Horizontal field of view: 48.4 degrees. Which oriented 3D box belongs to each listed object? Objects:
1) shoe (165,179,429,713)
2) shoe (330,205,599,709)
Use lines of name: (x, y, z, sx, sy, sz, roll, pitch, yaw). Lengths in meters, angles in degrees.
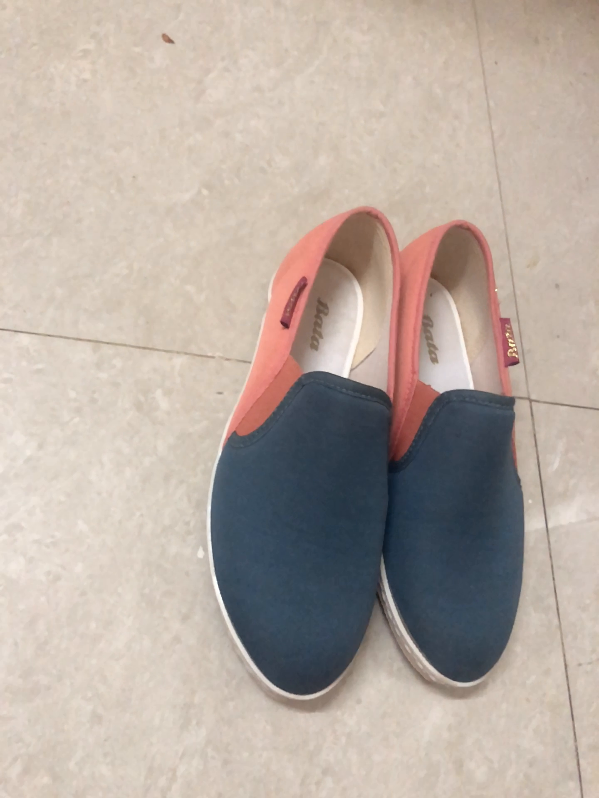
shoe: (0.003, 0.018, 0.306, 0.090, 0.060, 0.221, 11, 67, -17)
shoe: (0.074, 0.024, 0.324, 0.090, 0.060, 0.221, 5, 69, -19)
